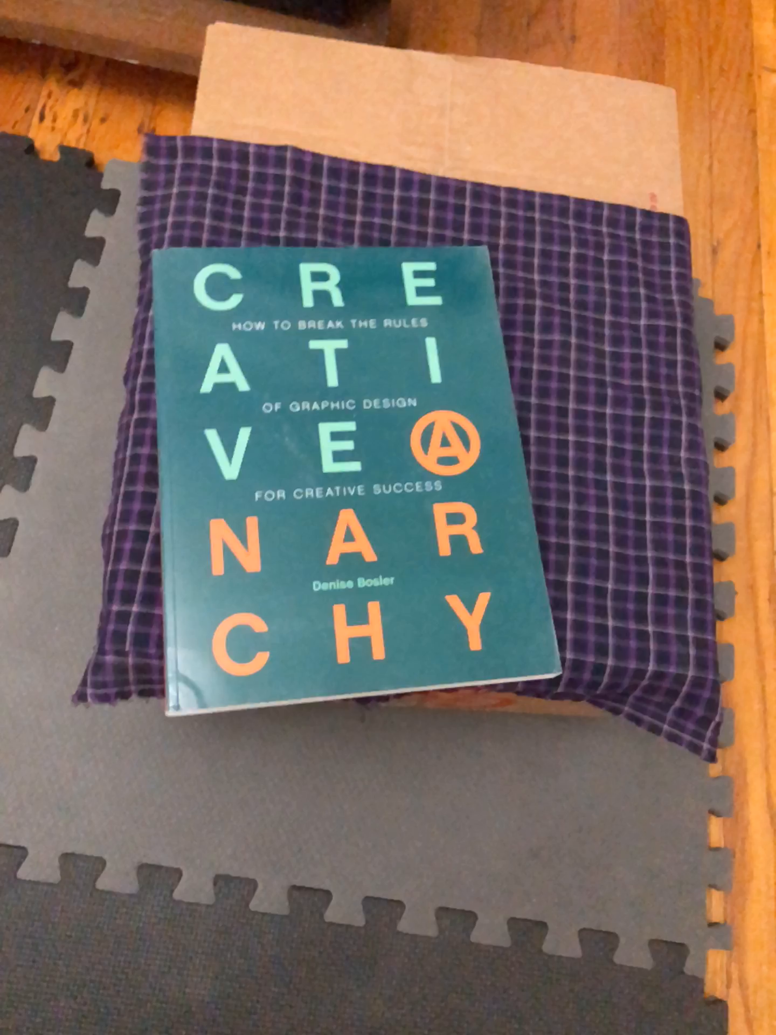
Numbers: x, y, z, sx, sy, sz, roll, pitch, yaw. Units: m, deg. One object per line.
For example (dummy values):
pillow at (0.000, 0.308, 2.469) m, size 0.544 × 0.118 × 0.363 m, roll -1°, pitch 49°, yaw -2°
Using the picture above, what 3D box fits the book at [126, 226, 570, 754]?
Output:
book at (-0.031, -0.033, 0.490) m, size 0.220 × 0.020 × 0.301 m, roll -4°, pitch 72°, yaw -9°
